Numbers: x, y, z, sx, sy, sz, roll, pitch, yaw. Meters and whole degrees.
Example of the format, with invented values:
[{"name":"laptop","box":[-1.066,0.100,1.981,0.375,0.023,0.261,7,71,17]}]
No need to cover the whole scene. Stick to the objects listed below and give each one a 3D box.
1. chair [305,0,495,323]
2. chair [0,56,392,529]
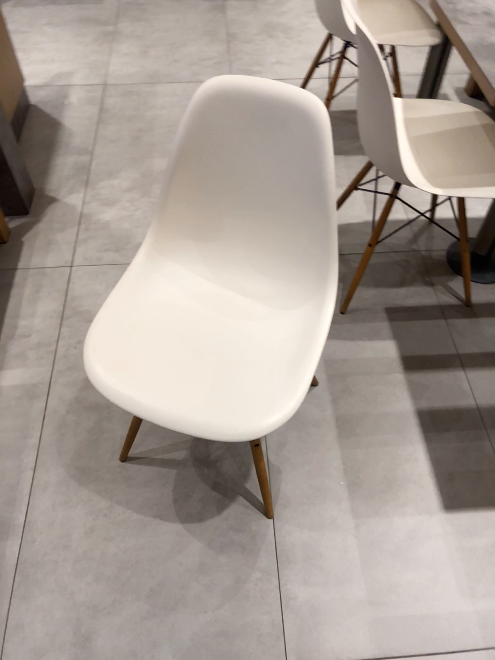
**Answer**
[{"name":"chair","box":[0.490,-0.494,1.544,0.512,0.769,0.564,-3,52,-3]},{"name":"chair","box":[-0.058,-0.041,1.182,0.471,0.779,0.554,17,54,13]}]
